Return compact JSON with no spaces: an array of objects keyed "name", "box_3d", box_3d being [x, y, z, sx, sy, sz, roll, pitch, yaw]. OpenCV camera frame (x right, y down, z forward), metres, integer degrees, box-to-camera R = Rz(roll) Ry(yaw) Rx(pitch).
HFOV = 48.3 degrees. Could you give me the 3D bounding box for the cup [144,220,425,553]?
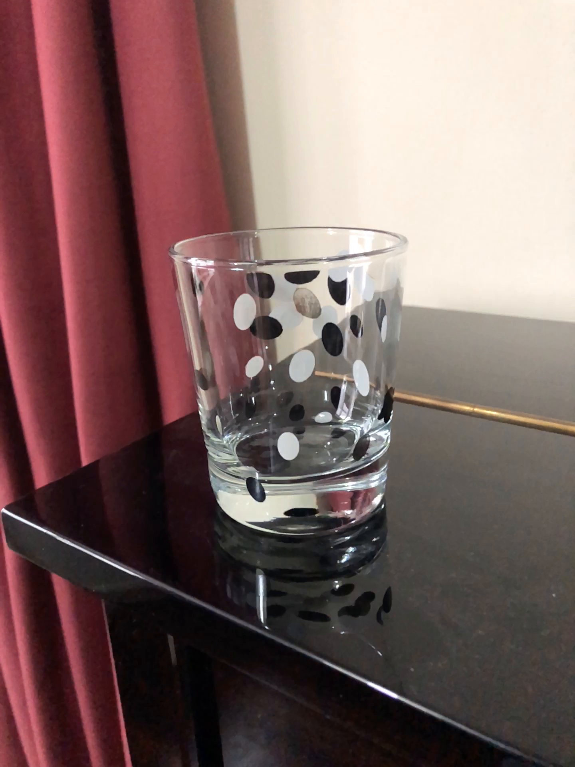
[{"name":"cup","box_3d":[0.003,-0.003,0.230,0.080,0.099,0.070,-1,19,5]}]
